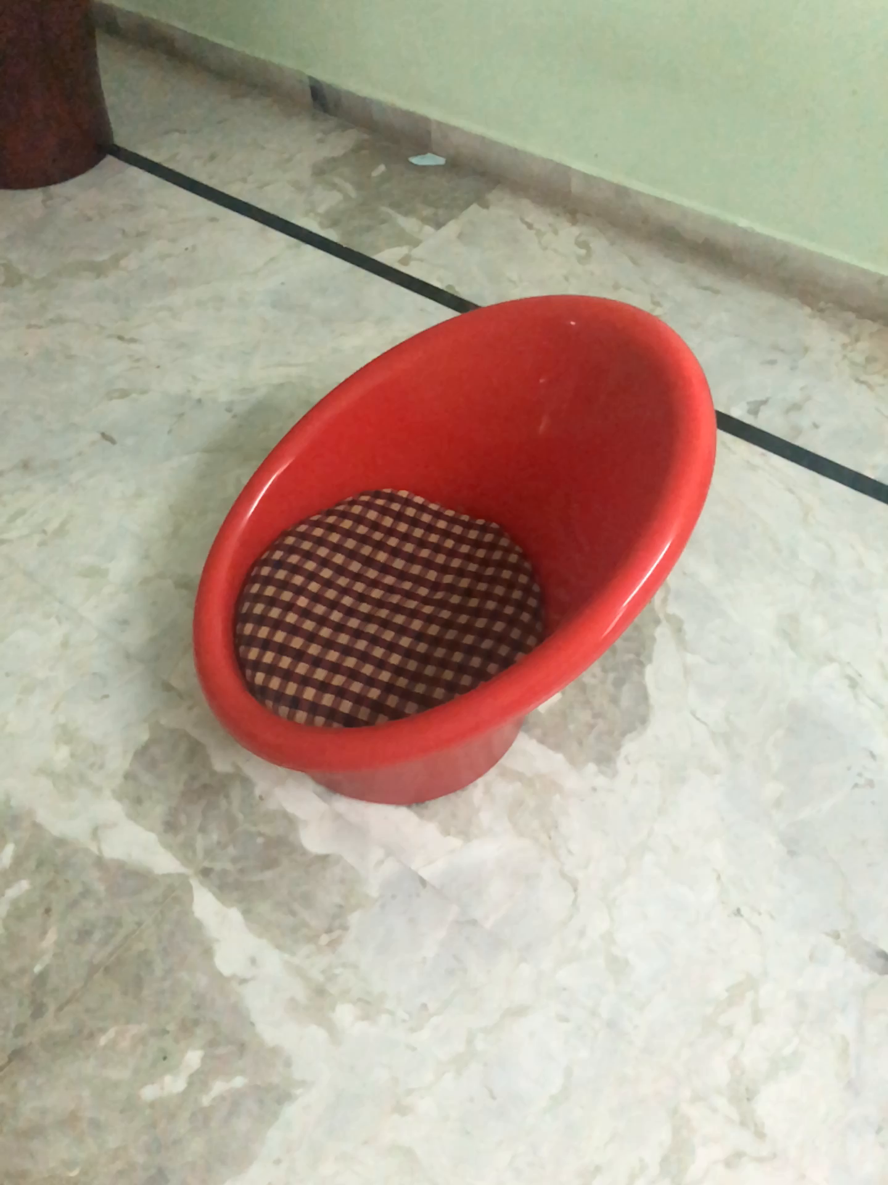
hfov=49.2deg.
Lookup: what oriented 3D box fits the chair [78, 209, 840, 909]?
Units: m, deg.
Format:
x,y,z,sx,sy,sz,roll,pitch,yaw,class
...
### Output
x,y,z,sx,sy,sz,roll,pitch,yaw,class
-0.023,-0.060,1.339,0.740,0.507,0.623,-15,53,-9,chair
